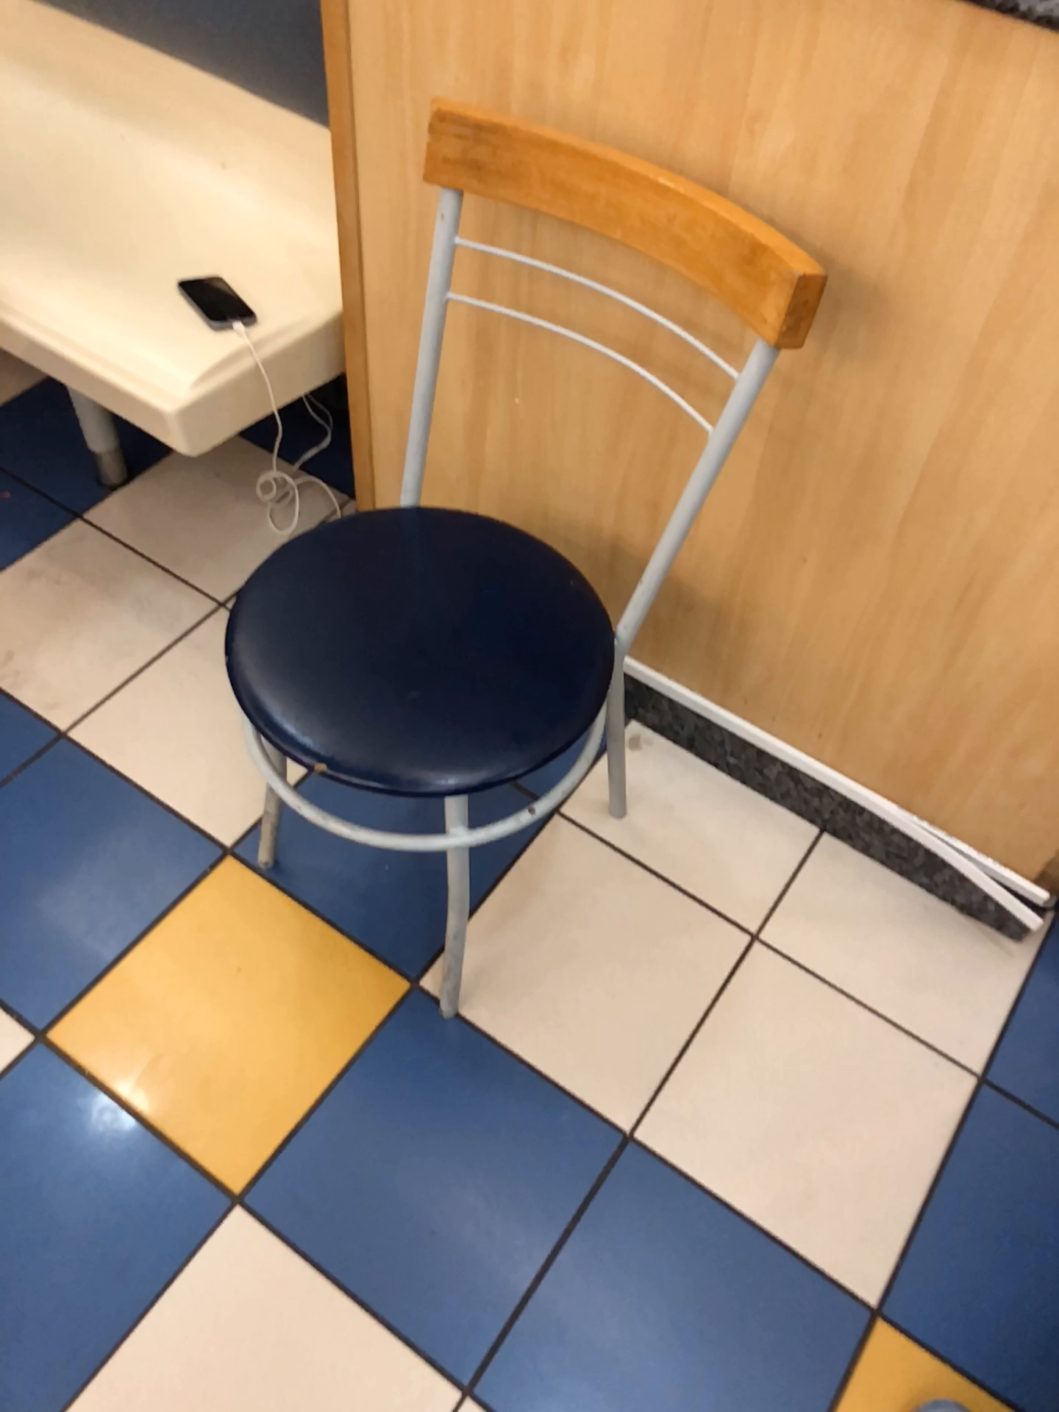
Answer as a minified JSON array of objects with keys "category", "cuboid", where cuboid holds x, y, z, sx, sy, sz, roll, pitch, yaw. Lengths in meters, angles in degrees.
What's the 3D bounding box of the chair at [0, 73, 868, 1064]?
[{"category":"chair","cuboid":[-0.071,-0.106,1.191,0.441,0.745,0.523,32,56,19]}]
